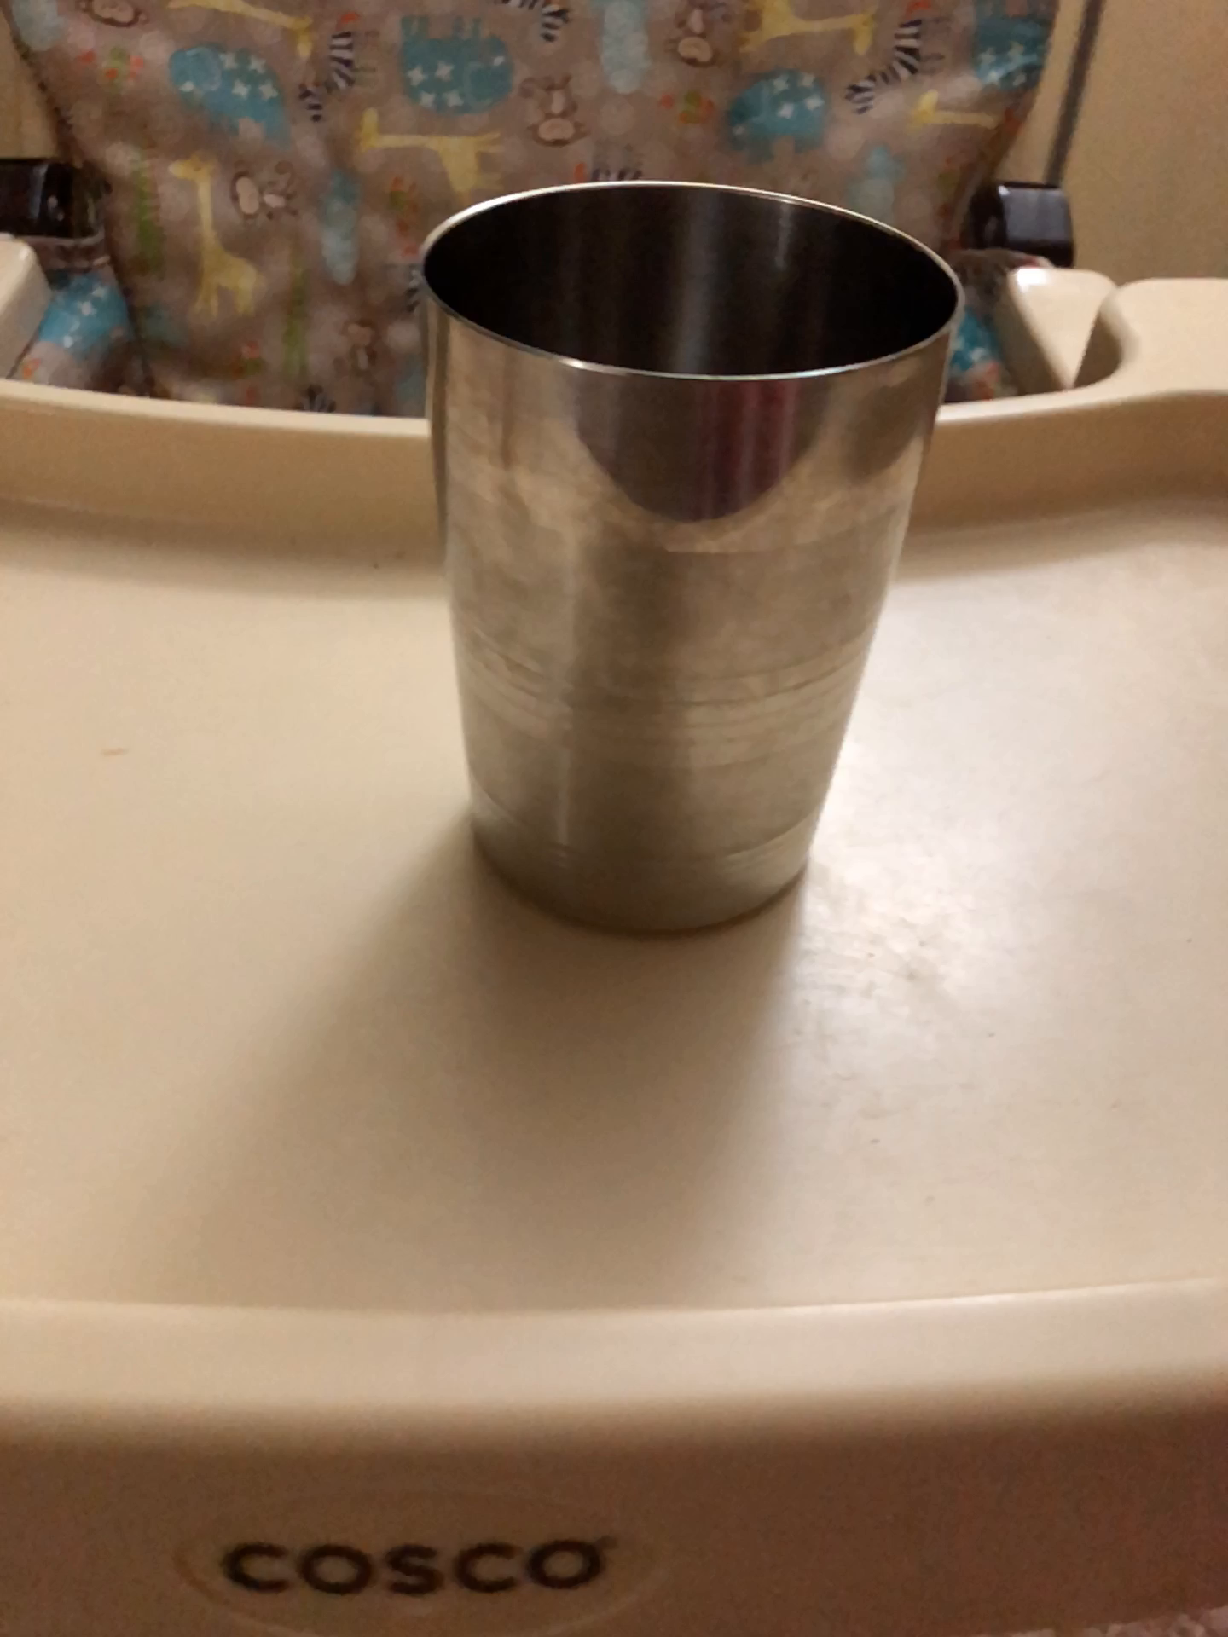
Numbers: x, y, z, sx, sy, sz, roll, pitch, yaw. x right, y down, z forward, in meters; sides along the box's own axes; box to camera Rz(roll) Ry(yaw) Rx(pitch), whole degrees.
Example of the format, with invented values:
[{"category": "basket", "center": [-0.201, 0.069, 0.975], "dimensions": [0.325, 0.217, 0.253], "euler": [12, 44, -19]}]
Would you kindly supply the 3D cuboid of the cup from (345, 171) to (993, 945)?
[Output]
[{"category": "cup", "center": [0.005, -0.039, 0.213], "dimensions": [0.073, 0.090, 0.073], "euler": [2, 43, -2]}]
